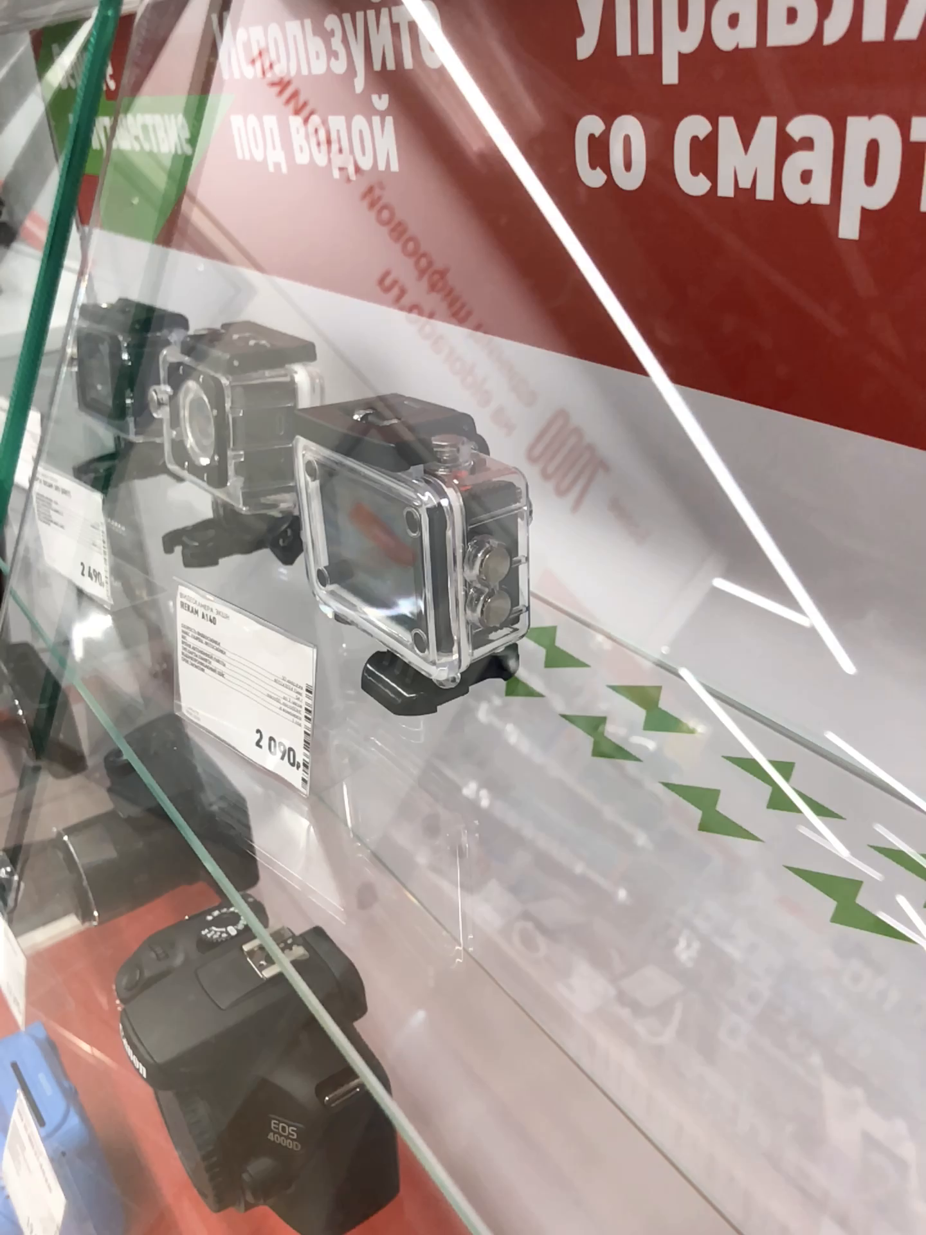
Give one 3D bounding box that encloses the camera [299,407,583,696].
[{"bbox_3d":[-0.007,-0.022,0.286,0.040,0.053,0.075,-19,30,-31],"label":"camera"}]
